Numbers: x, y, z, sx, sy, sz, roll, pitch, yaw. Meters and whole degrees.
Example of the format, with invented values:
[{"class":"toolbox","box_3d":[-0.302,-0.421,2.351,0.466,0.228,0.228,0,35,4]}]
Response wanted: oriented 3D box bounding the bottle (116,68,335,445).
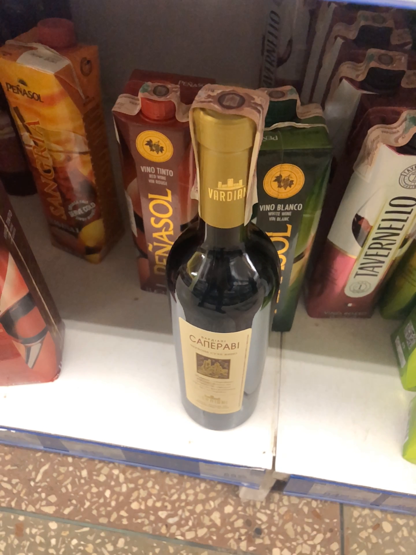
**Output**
[{"class":"bottle","box_3d":[0.008,0.021,0.303,0.080,0.281,0.070,10,53,6]}]
